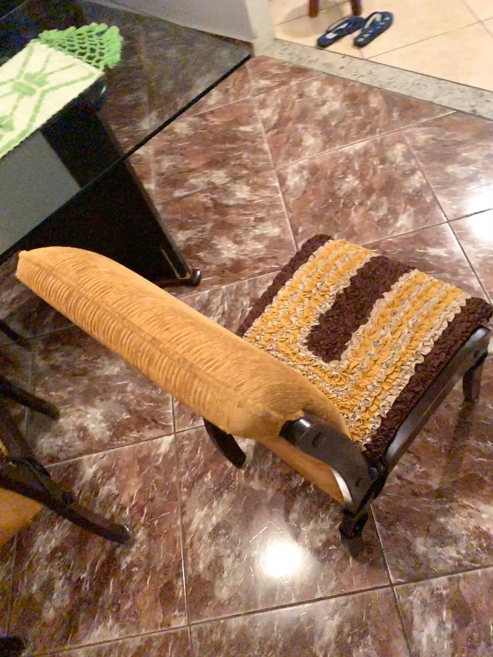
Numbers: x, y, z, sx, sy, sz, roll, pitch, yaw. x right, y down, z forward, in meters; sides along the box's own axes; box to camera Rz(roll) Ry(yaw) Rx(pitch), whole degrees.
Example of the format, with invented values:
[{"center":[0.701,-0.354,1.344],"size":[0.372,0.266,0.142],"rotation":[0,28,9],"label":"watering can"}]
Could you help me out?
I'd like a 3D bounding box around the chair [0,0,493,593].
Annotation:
[{"center":[0.138,0.006,0.954],"size":[0.562,0.936,0.601],"rotation":[30,72,29],"label":"chair"}]
